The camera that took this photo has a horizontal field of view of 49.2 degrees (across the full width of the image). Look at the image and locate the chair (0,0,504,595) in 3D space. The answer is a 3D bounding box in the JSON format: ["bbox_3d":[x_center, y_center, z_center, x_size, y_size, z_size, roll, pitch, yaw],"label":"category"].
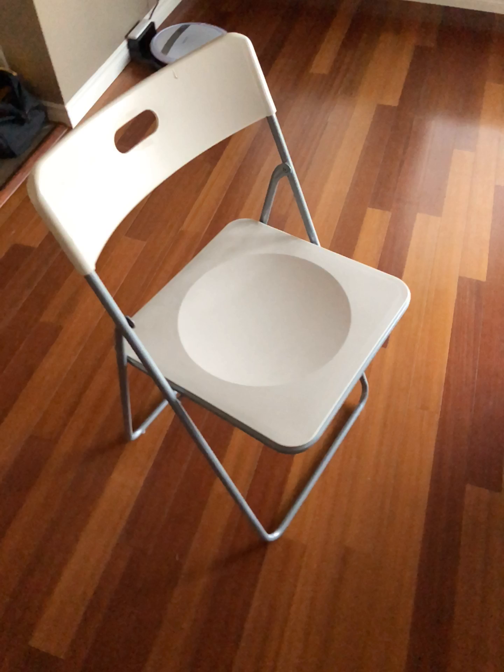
[{"bbox_3d":[-0.003,-0.061,0.792,0.541,0.577,0.461,29,59,20],"label":"chair"}]
